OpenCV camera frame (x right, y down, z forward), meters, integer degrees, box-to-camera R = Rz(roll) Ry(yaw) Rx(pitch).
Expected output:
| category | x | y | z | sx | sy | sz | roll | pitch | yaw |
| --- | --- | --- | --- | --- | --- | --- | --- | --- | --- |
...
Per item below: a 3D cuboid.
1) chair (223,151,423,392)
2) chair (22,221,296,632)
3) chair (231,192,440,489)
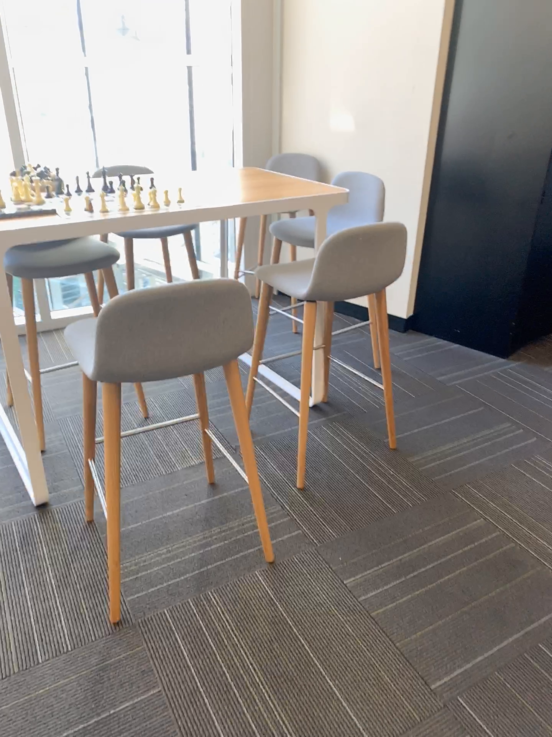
| category | x | y | z | sx | sy | sz | roll | pitch | yaw |
| --- | --- | --- | --- | --- | --- | --- | --- | --- | --- |
| chair | 0.193 | -0.555 | 2.951 | 0.620 | 0.994 | 0.784 | -15 | 31 | -29 |
| chair | -0.332 | 0.123 | 1.645 | 0.550 | 0.935 | 0.553 | -12 | 29 | -25 |
| chair | 0.186 | -0.141 | 2.202 | 0.500 | 0.935 | 0.553 | -15 | 31 | -30 |
